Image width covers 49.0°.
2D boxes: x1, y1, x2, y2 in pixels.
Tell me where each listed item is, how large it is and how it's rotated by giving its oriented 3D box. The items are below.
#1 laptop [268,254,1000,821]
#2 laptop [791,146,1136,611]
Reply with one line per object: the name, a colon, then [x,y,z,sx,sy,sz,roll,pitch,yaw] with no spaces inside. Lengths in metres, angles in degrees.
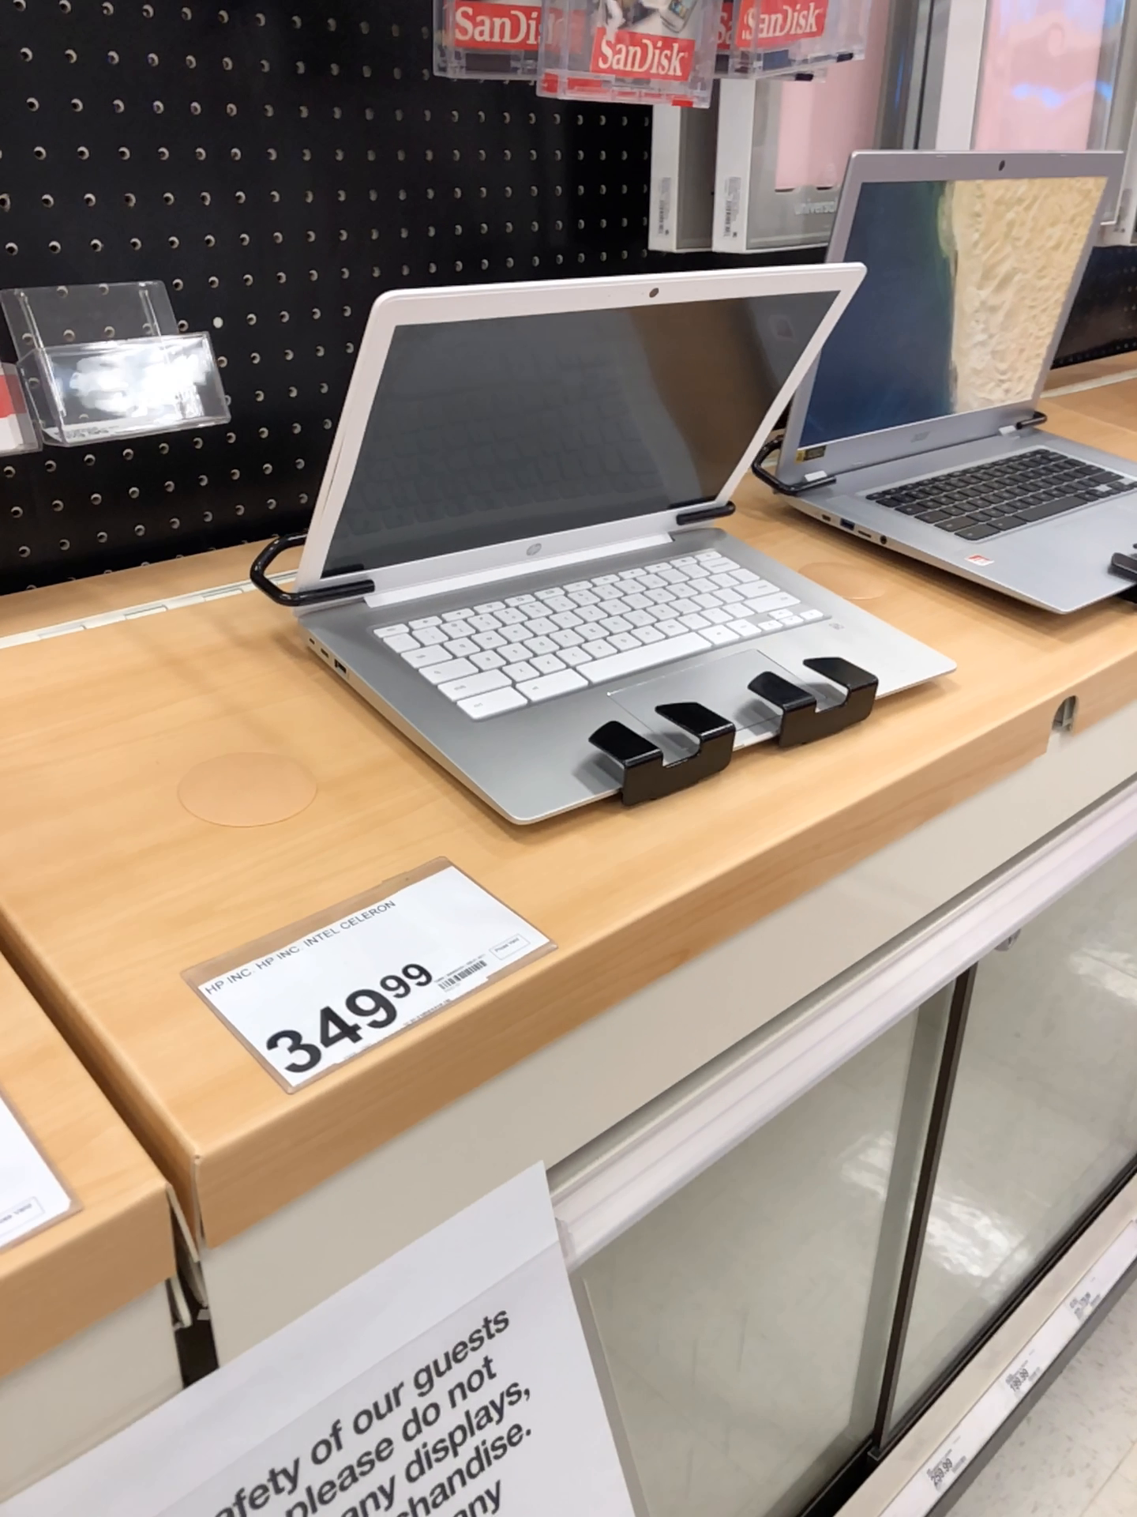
laptop: [0.042,-0.145,0.676,0.322,0.172,0.201,-19,39,-34]
laptop: [0.370,-0.298,0.914,0.321,0.231,0.231,-21,37,-34]
